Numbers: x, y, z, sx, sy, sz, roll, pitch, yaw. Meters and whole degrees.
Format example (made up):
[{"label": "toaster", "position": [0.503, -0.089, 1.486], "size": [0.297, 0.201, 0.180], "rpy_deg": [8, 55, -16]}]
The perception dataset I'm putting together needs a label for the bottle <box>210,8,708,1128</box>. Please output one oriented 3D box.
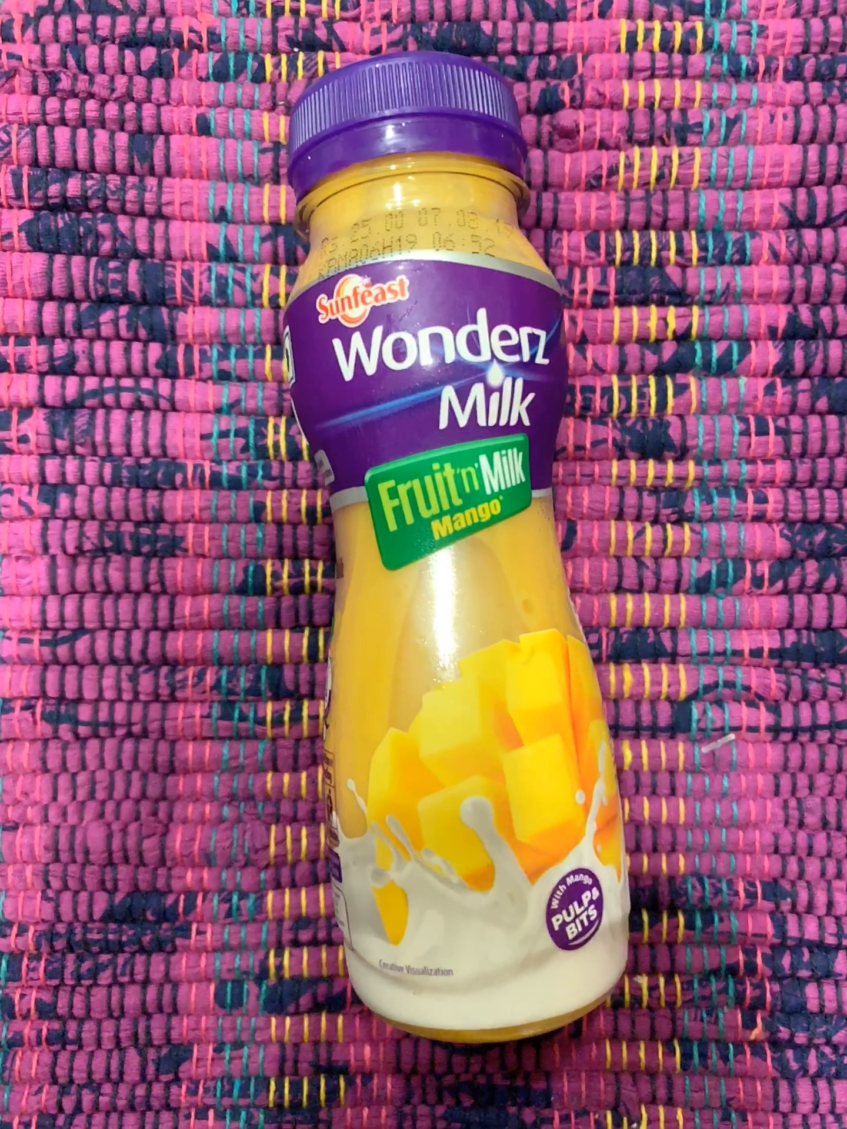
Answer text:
[{"label": "bottle", "position": [0.004, 0.001, 0.141], "size": [0.050, 0.040, 0.150], "rpy_deg": [-7, 88, -2]}]
